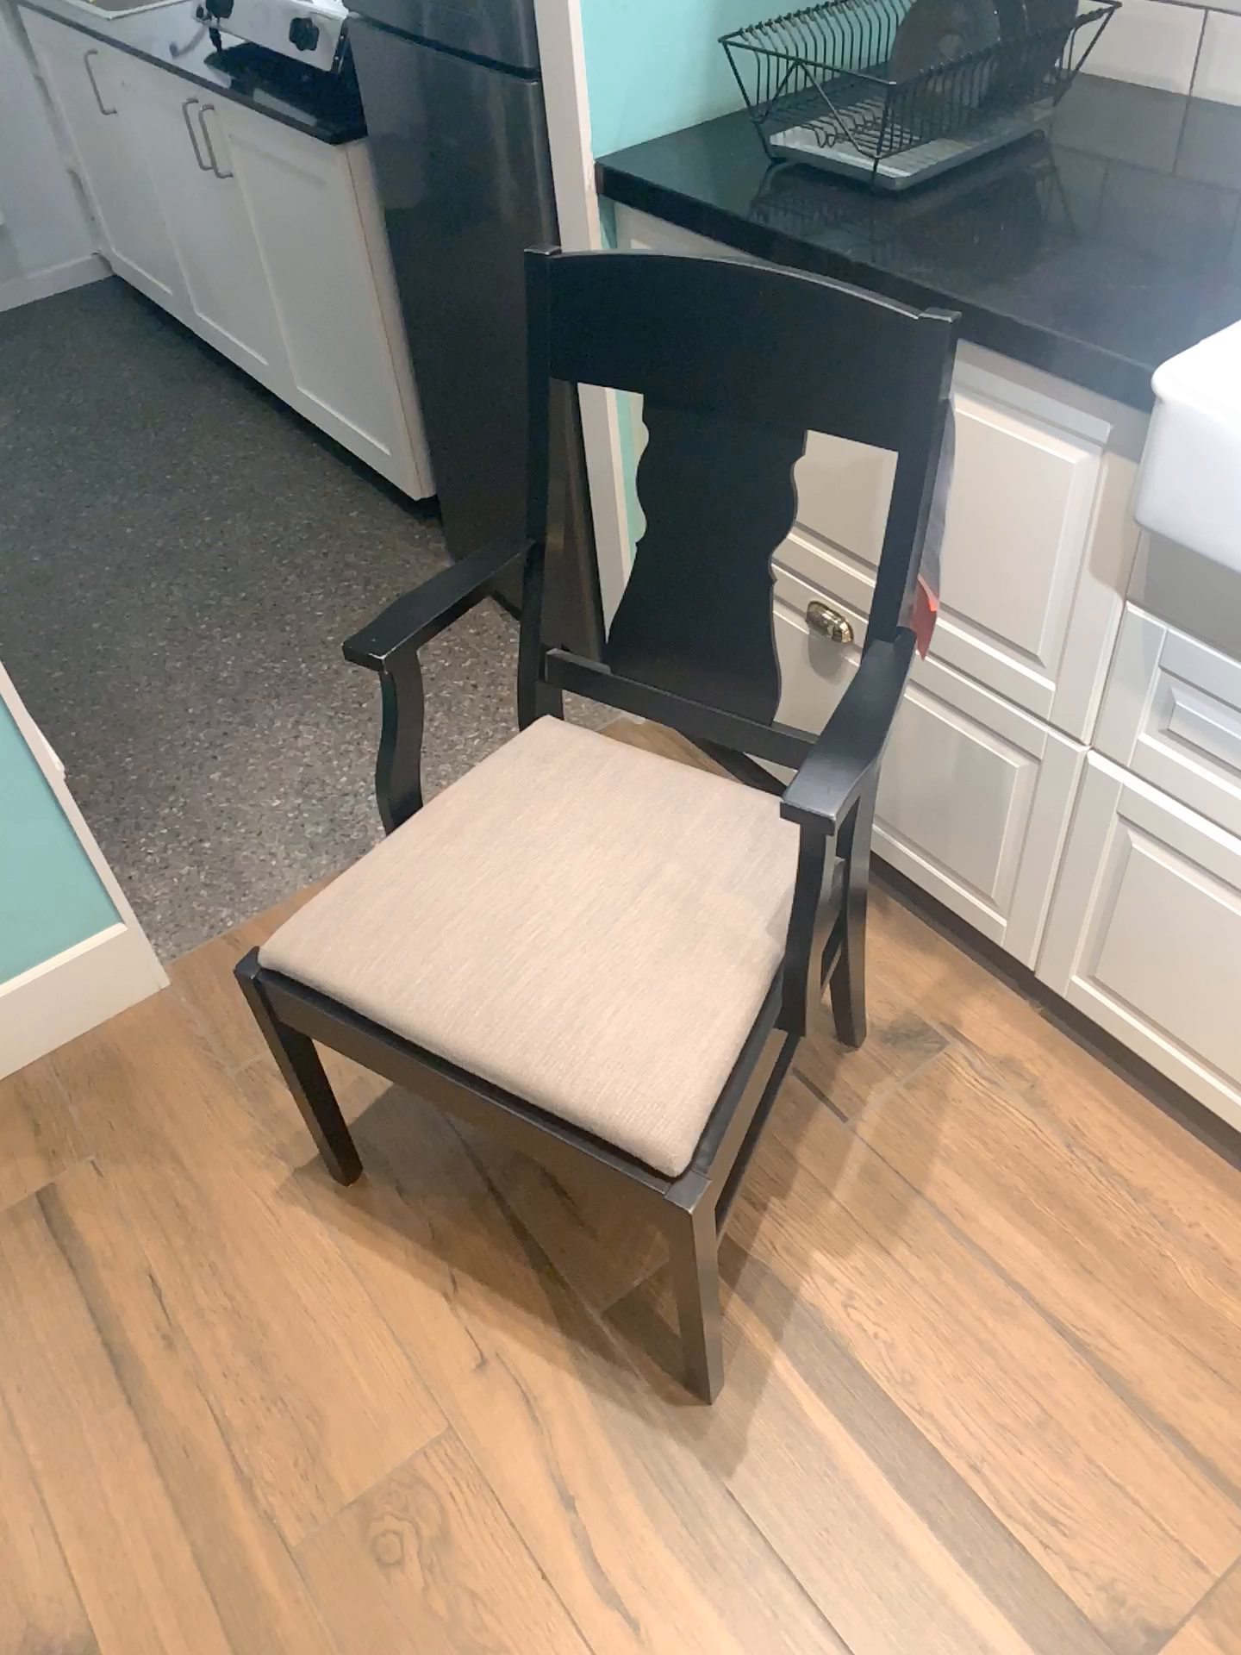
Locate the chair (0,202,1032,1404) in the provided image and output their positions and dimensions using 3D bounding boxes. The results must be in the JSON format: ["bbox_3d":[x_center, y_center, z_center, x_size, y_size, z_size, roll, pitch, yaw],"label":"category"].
[{"bbox_3d":[-0.040,-0.015,1.244,0.571,0.886,0.591,21,51,26],"label":"chair"}]
